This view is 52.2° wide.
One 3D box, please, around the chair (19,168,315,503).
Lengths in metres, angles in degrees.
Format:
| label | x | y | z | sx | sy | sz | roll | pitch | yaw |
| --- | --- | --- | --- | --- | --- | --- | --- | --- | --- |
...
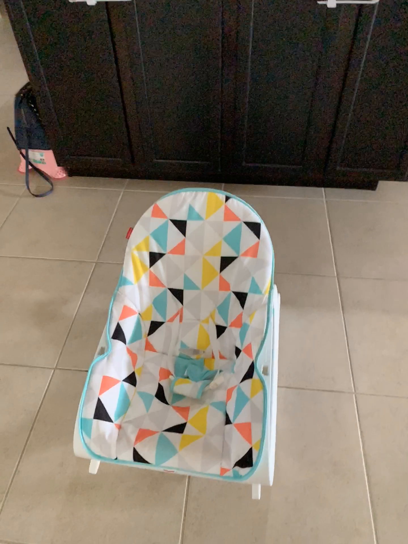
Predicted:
| label | x | y | z | sx | sy | sz | roll | pitch | yaw |
| --- | --- | --- | --- | --- | --- | --- | --- | --- | --- |
| chair | -0.024 | 0.141 | 1.160 | 0.530 | 0.486 | 0.736 | 4 | 48 | 6 |
